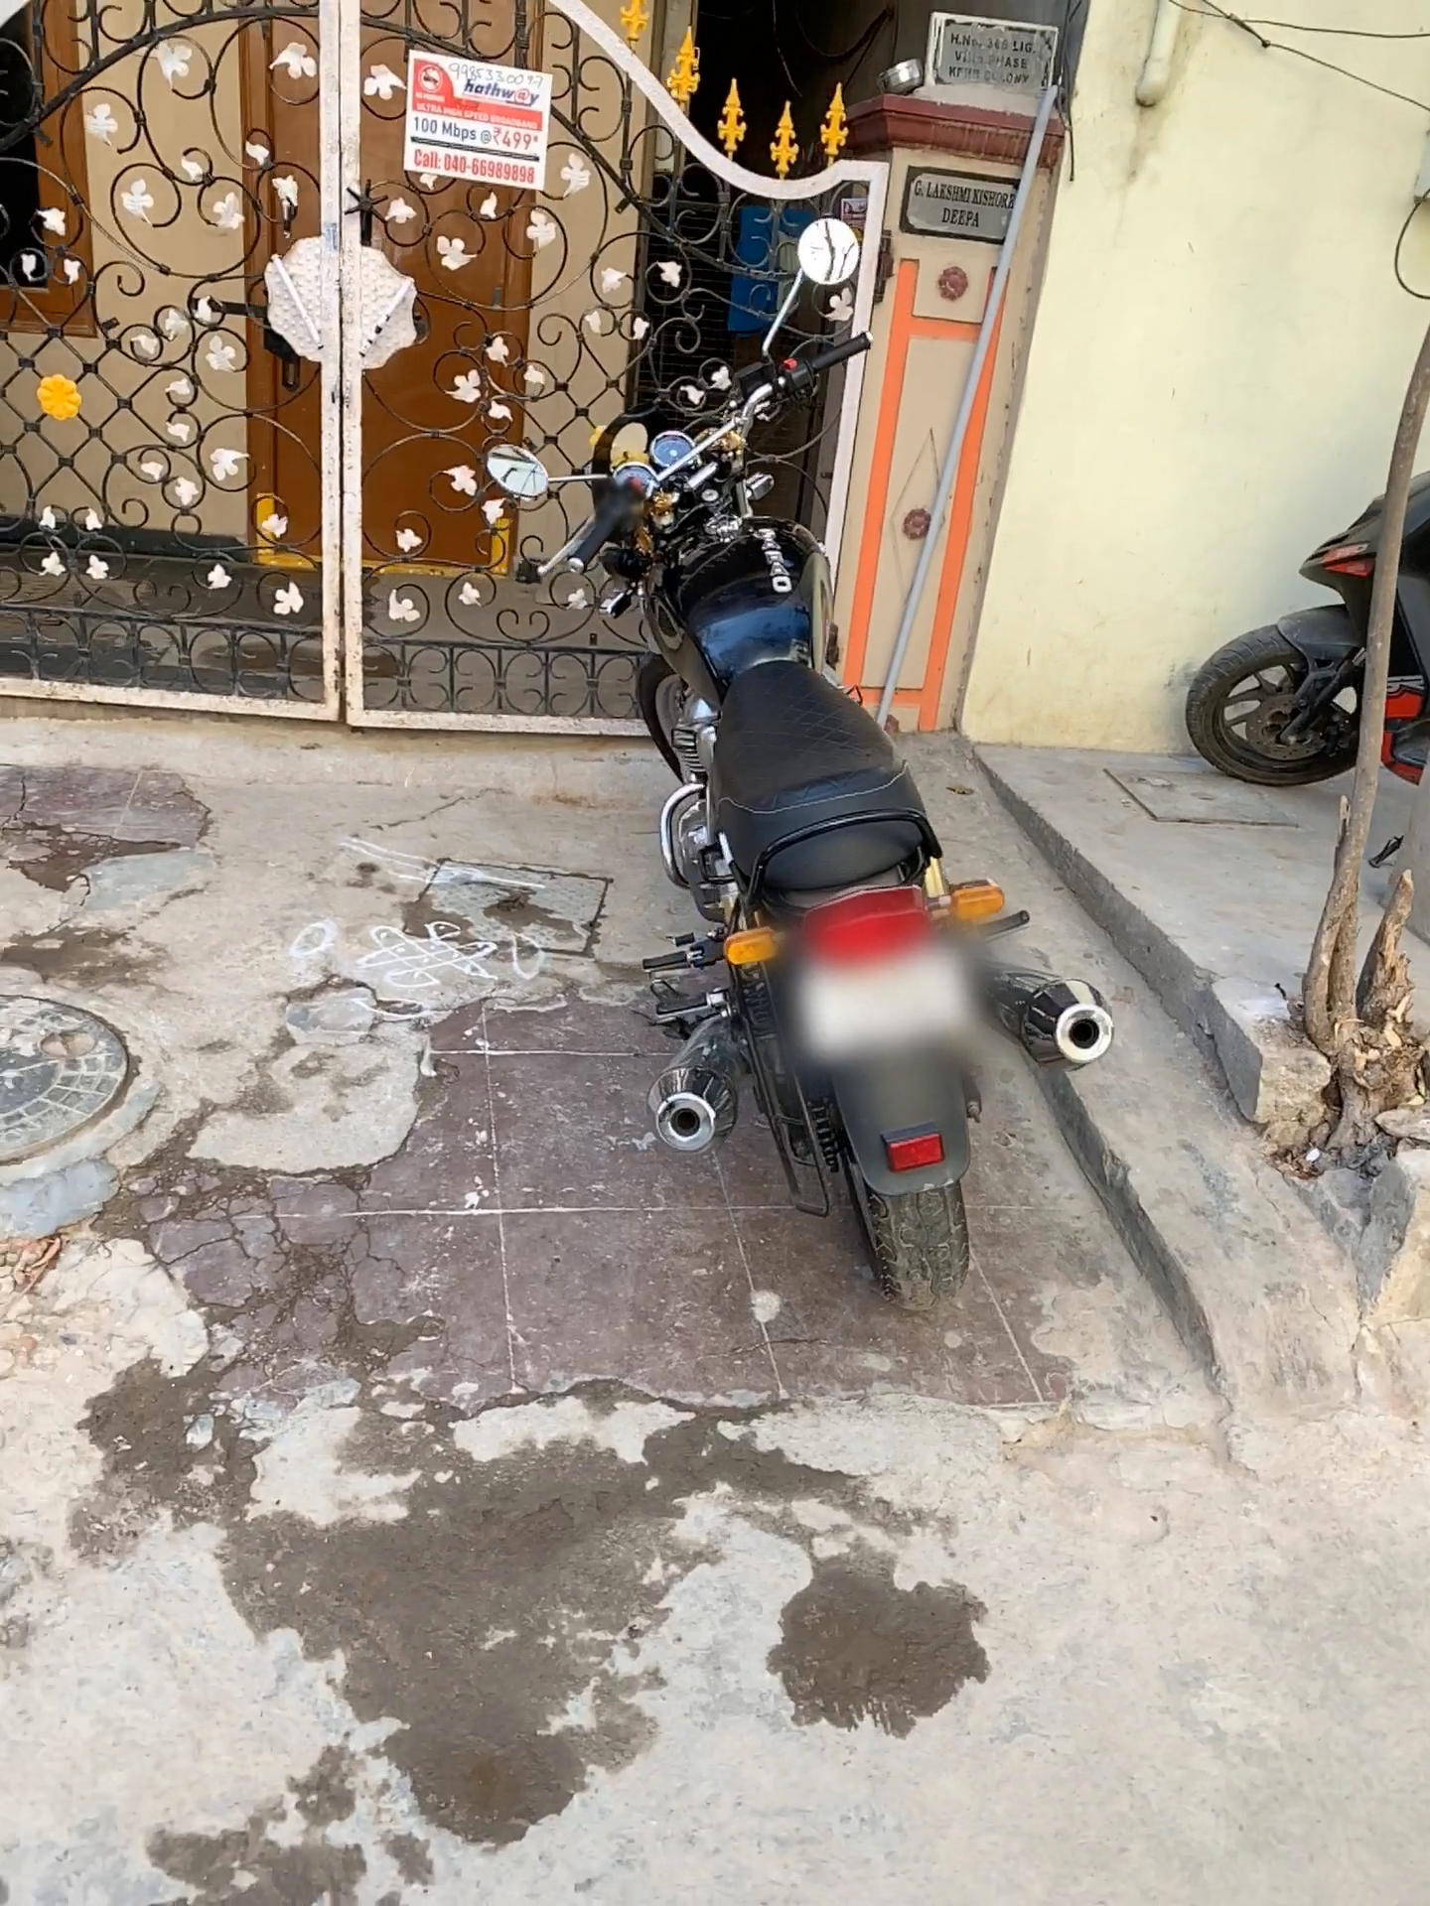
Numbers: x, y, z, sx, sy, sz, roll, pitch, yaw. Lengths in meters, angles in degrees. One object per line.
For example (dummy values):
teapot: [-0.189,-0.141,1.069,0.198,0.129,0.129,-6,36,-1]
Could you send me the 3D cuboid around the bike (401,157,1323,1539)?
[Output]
bike: [-0.058,-0.397,2.547,0.791,1.522,1.912,-1,29,-16]
